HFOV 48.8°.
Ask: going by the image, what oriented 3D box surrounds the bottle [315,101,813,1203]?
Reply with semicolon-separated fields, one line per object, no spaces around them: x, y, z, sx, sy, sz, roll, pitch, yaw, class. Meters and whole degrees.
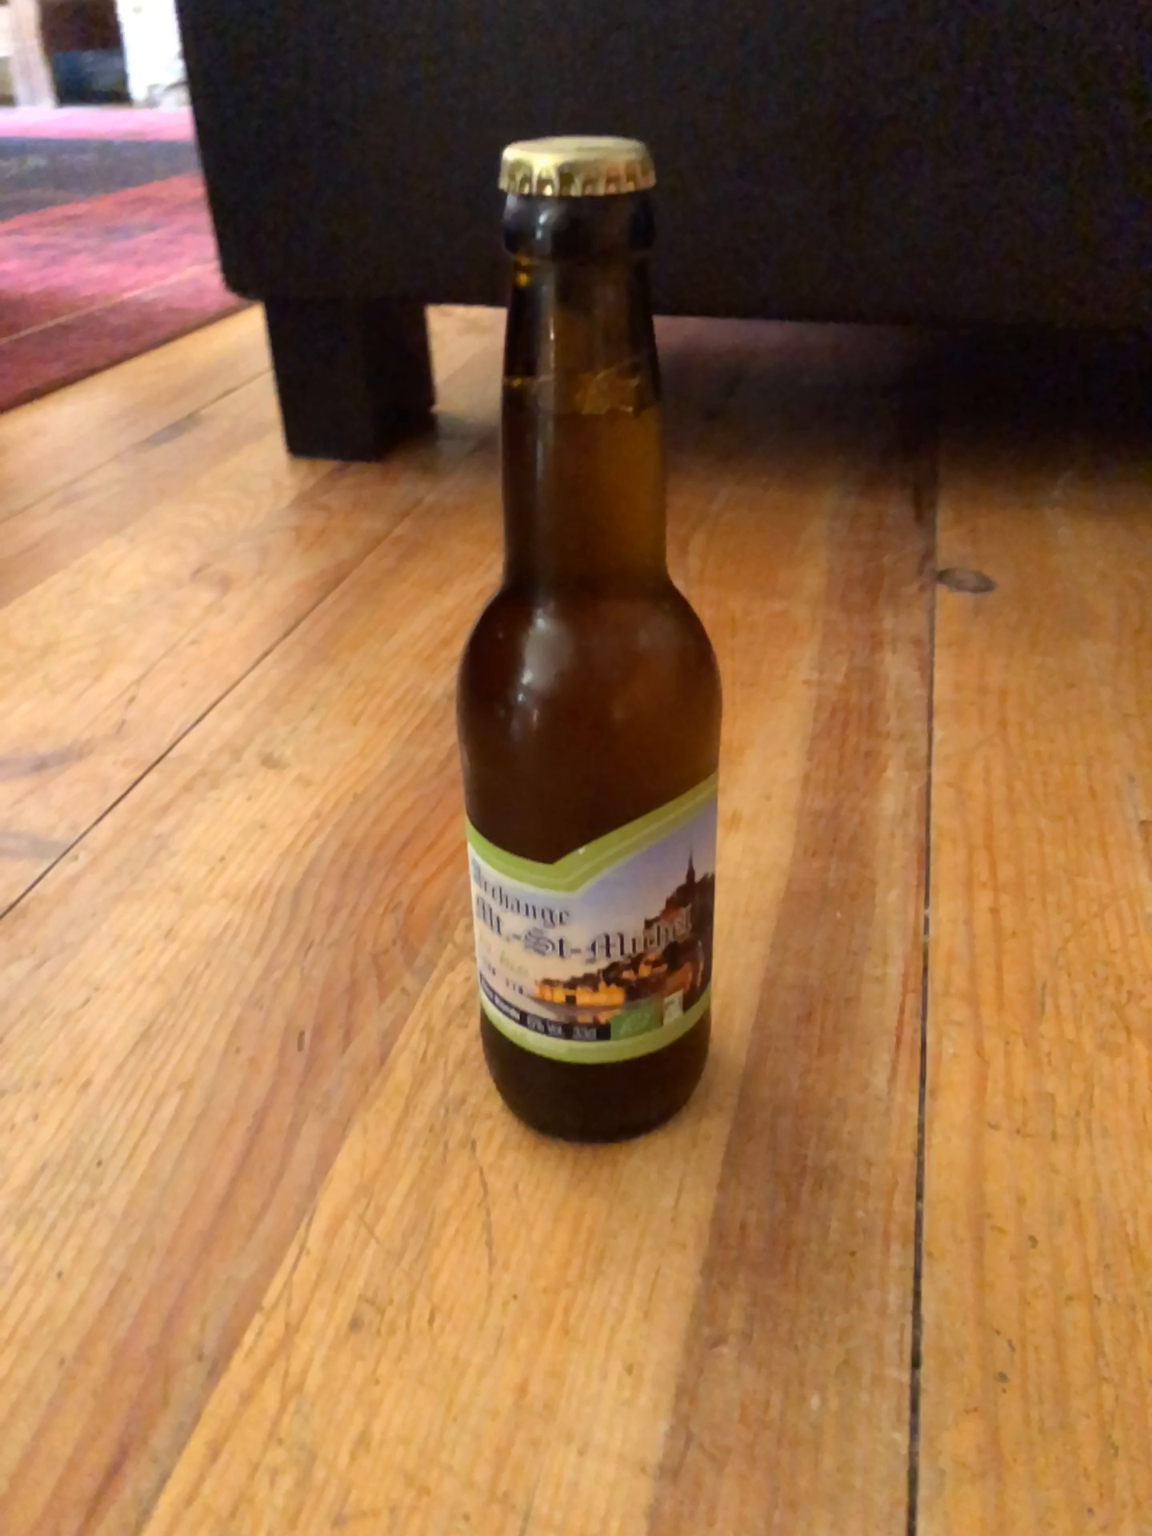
-0.005;-0.017;0.284;0.070;0.229;0.070;0;31;0;bottle
